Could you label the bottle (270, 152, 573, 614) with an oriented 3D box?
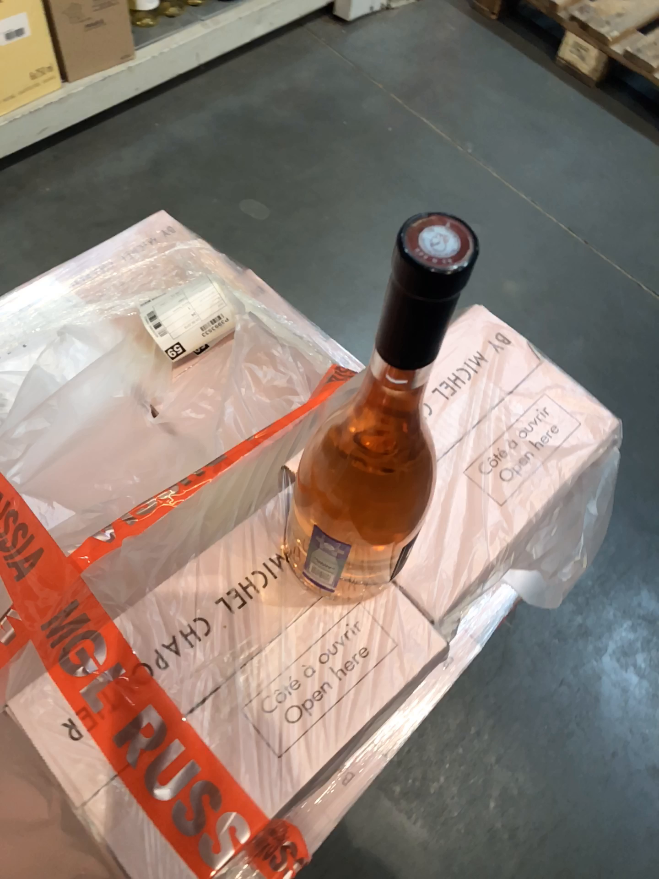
[{"bbox_3d":[0.027,0.001,0.391,0.096,0.279,0.100,3,61,-5],"label":"bottle"}]
